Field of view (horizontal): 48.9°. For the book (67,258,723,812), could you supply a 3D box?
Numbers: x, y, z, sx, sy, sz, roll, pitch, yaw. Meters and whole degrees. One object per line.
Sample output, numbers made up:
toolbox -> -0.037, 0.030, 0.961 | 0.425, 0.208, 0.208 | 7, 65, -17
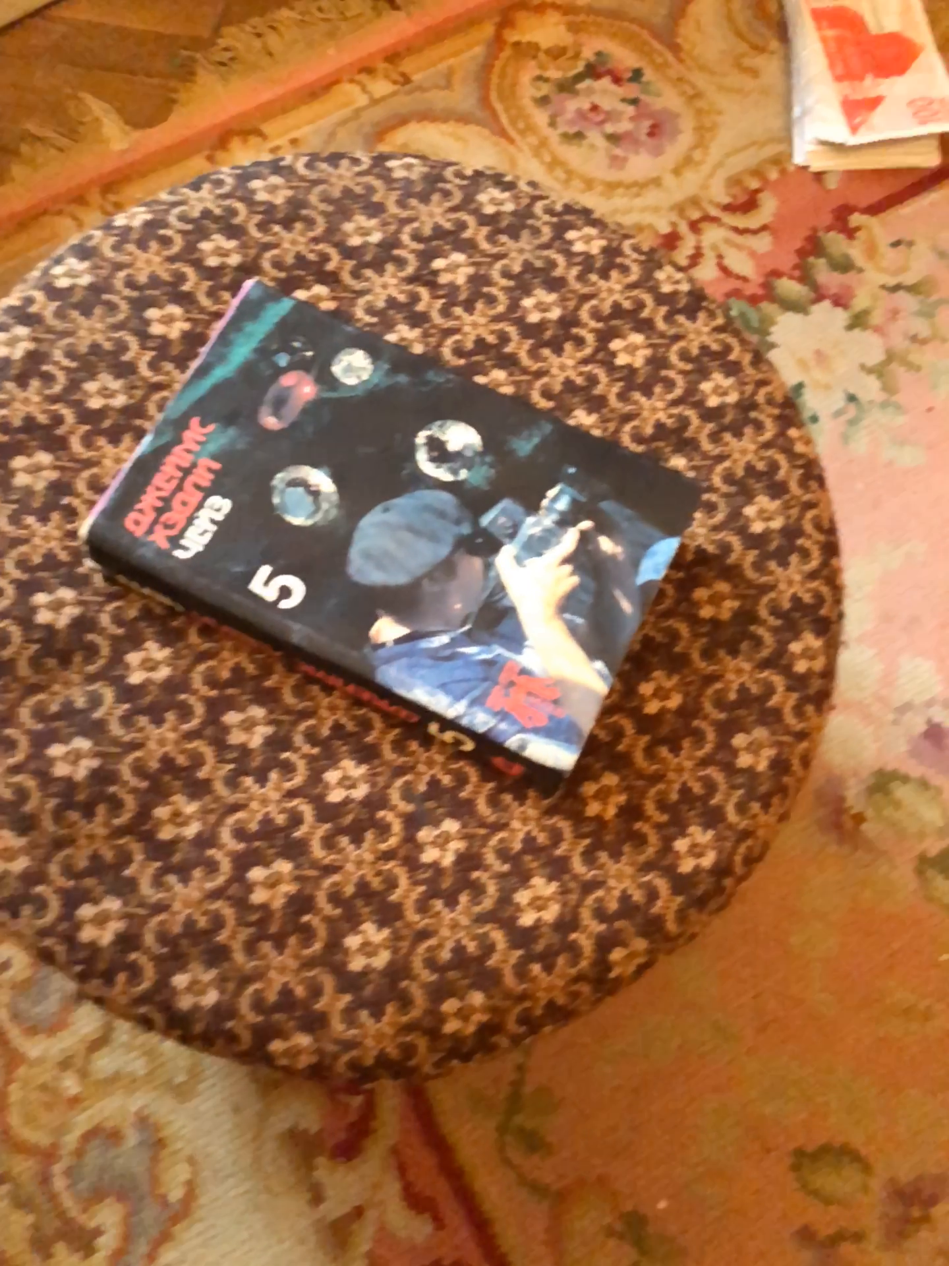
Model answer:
book -> -0.026, -0.043, 0.404 | 0.205, 0.020, 0.140 | 28, 72, 3
